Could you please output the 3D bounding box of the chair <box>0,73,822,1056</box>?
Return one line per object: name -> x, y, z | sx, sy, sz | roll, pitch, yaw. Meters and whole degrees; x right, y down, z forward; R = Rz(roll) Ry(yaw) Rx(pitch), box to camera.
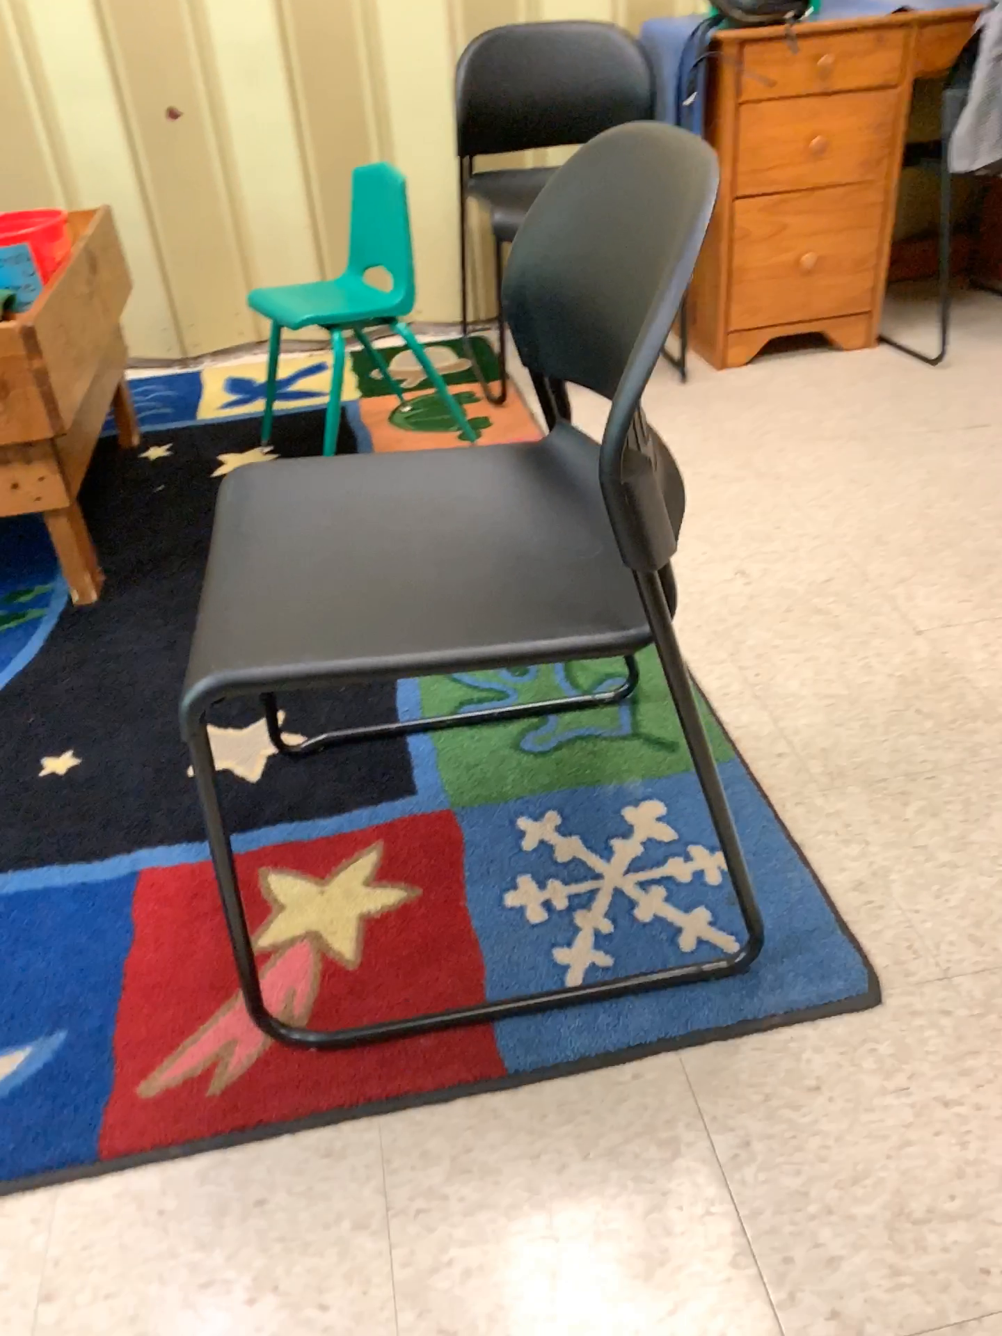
chair -> -0.081, -0.132, 1.077 | 0.530, 0.785, 0.574 | -9, 34, -7
